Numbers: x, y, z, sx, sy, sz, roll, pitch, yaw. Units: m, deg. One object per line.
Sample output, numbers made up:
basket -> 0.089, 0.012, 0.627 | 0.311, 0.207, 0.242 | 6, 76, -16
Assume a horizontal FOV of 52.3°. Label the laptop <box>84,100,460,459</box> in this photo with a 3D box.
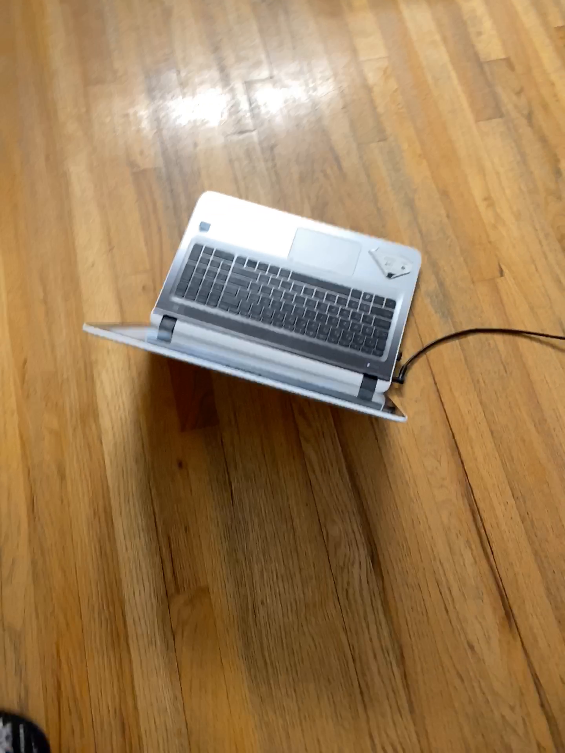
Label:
laptop -> 0.000, -0.128, 0.801 | 0.371, 0.202, 0.363 | 16, 70, 4
